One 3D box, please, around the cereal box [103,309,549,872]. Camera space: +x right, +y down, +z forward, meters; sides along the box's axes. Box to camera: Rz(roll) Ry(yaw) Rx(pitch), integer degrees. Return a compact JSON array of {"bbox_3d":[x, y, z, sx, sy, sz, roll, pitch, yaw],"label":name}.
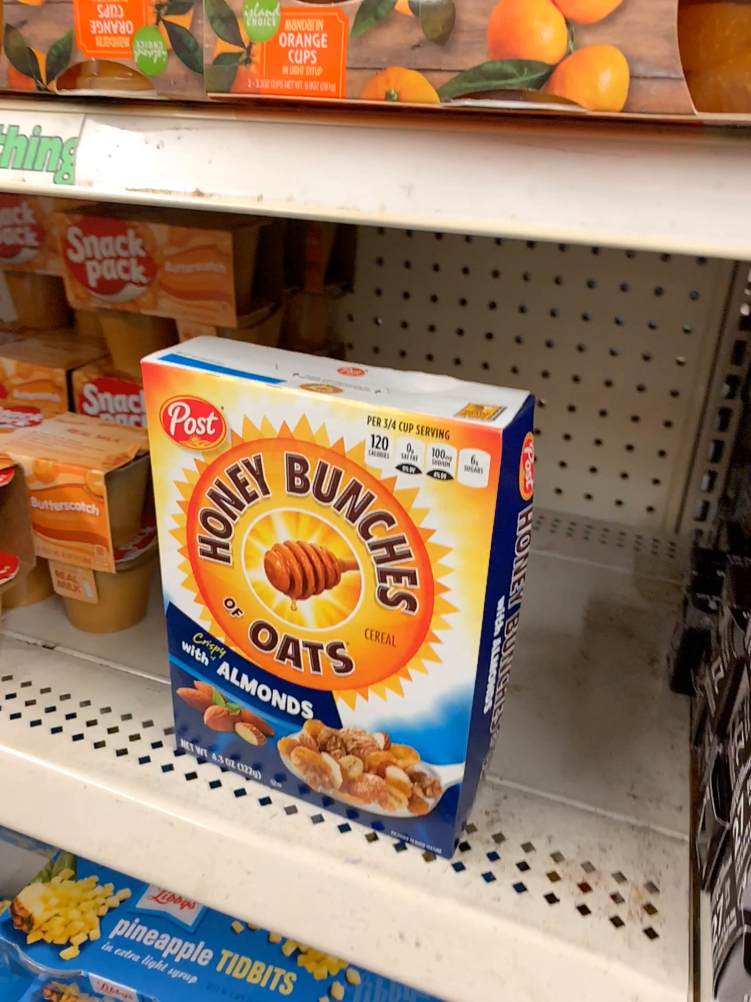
[{"bbox_3d":[-0.023,0.032,0.312,0.150,0.189,0.050,13,27,23],"label":"cereal box"}]
